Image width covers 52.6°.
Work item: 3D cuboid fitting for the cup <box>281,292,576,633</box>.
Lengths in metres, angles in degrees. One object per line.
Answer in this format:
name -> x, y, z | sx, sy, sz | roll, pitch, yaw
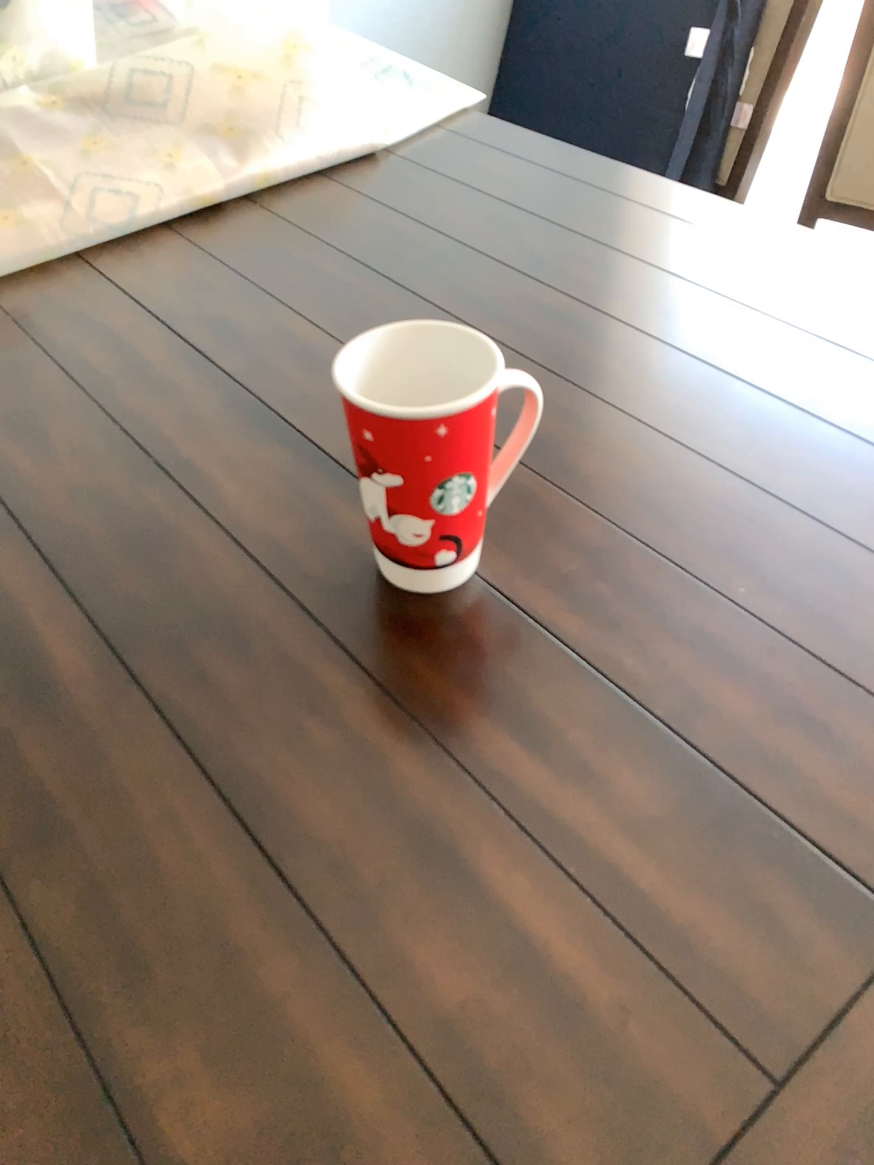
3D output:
cup -> -0.004, -0.075, 0.540 | 0.130, 0.139, 0.100 | -27, 50, -23
